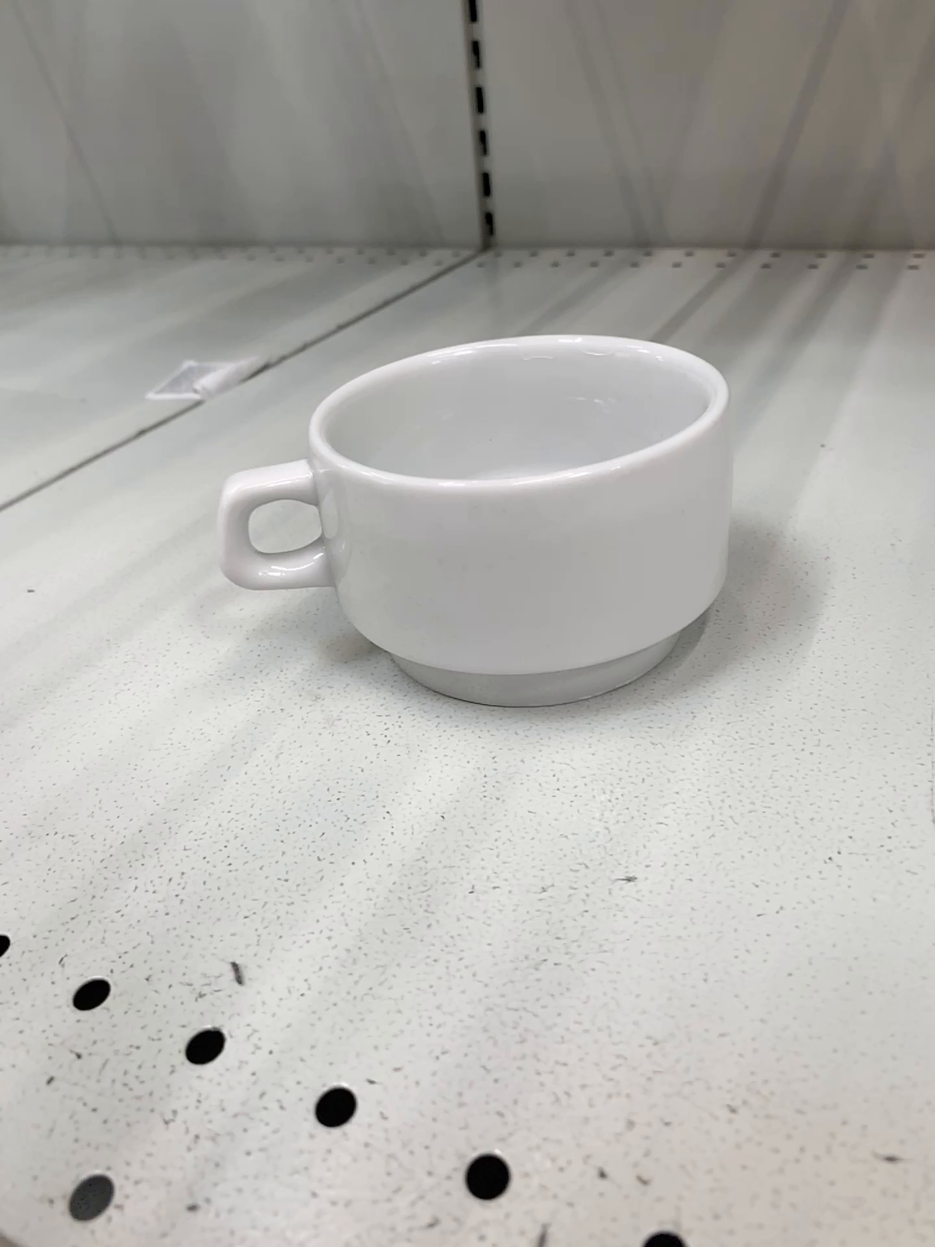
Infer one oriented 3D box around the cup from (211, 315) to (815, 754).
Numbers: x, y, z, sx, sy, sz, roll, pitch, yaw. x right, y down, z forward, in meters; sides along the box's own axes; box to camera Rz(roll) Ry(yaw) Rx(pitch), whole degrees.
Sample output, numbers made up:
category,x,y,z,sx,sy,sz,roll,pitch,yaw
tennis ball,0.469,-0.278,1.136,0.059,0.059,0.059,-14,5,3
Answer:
category,x,y,z,sx,sy,sz,roll,pitch,yaw
cup,0.004,-0.028,0.226,0.111,0.051,0.091,-10,32,-6
